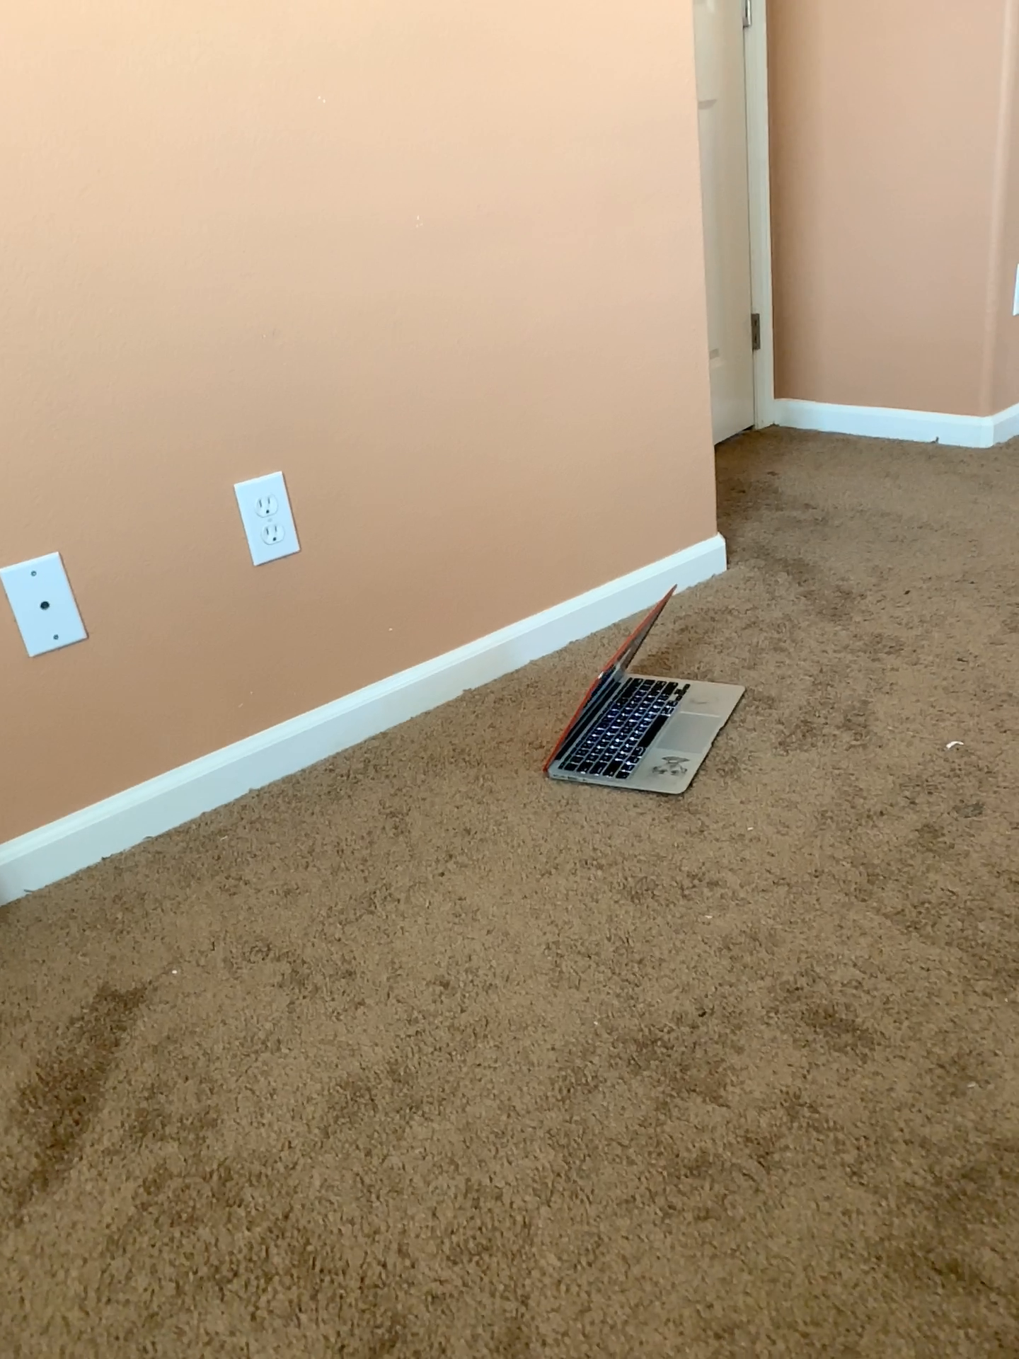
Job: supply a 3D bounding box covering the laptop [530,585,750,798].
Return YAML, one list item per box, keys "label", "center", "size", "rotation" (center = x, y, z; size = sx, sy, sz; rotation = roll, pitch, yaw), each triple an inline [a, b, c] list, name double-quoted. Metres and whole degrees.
- label: "laptop"
  center: [0.187, 0.003, 1.396]
  size: [0.193, 0.148, 0.300]
  rotation: [6, 29, 27]
